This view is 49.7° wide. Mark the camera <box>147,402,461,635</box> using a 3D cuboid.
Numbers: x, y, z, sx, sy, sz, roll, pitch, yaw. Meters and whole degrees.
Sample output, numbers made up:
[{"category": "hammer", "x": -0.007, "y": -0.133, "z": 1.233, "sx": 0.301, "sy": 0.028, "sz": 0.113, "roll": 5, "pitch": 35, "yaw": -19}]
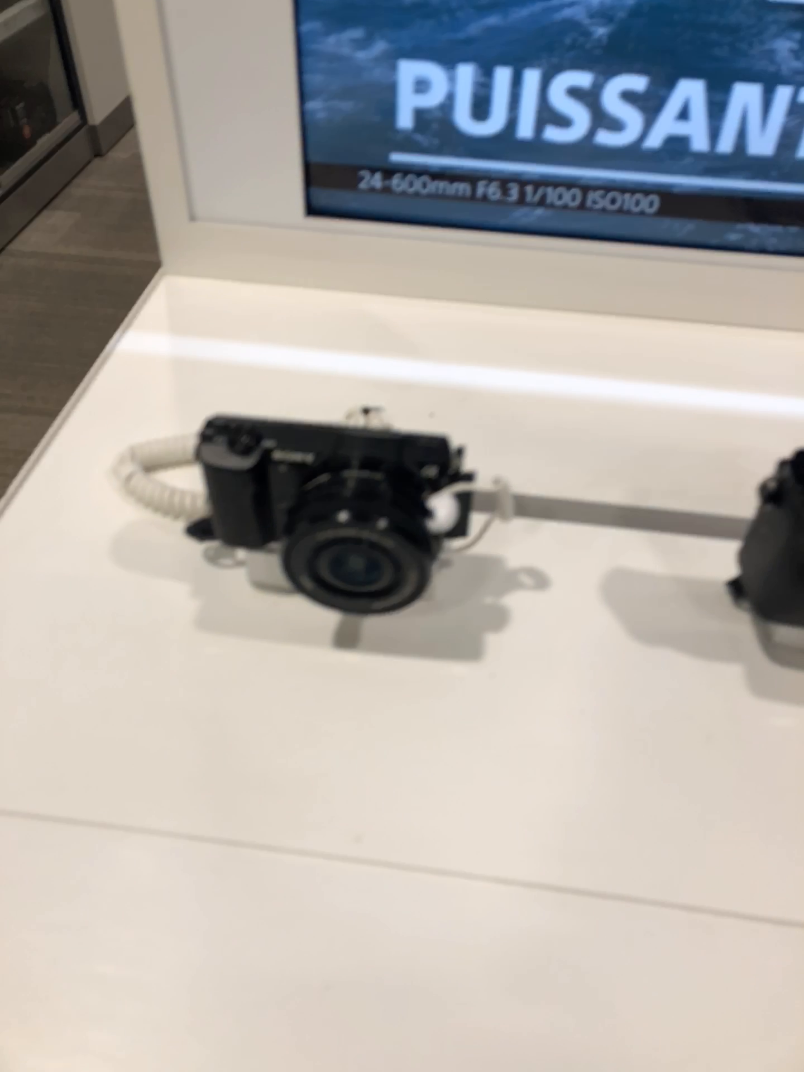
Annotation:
[{"category": "camera", "x": -0.036, "y": -0.008, "z": 0.365, "sx": 0.113, "sy": 0.060, "sz": 0.062, "roll": 6, "pitch": 45, "yaw": 6}]
